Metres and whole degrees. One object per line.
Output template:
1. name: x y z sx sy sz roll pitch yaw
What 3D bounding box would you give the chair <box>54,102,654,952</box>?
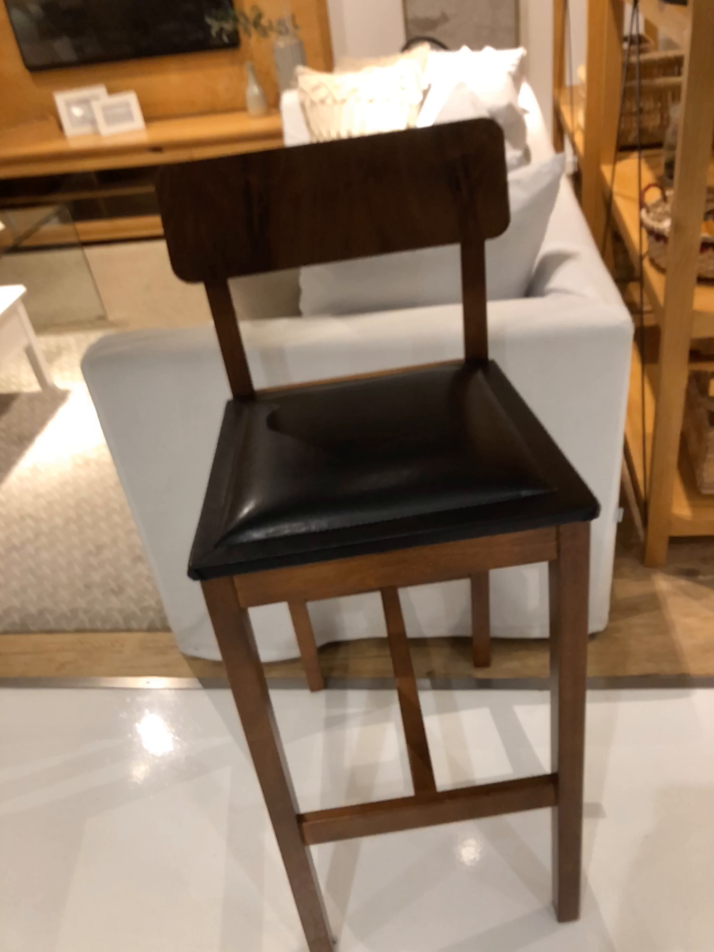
1. chair: 0.037 0.116 1.079 0.440 1.002 0.534 -9 35 0
